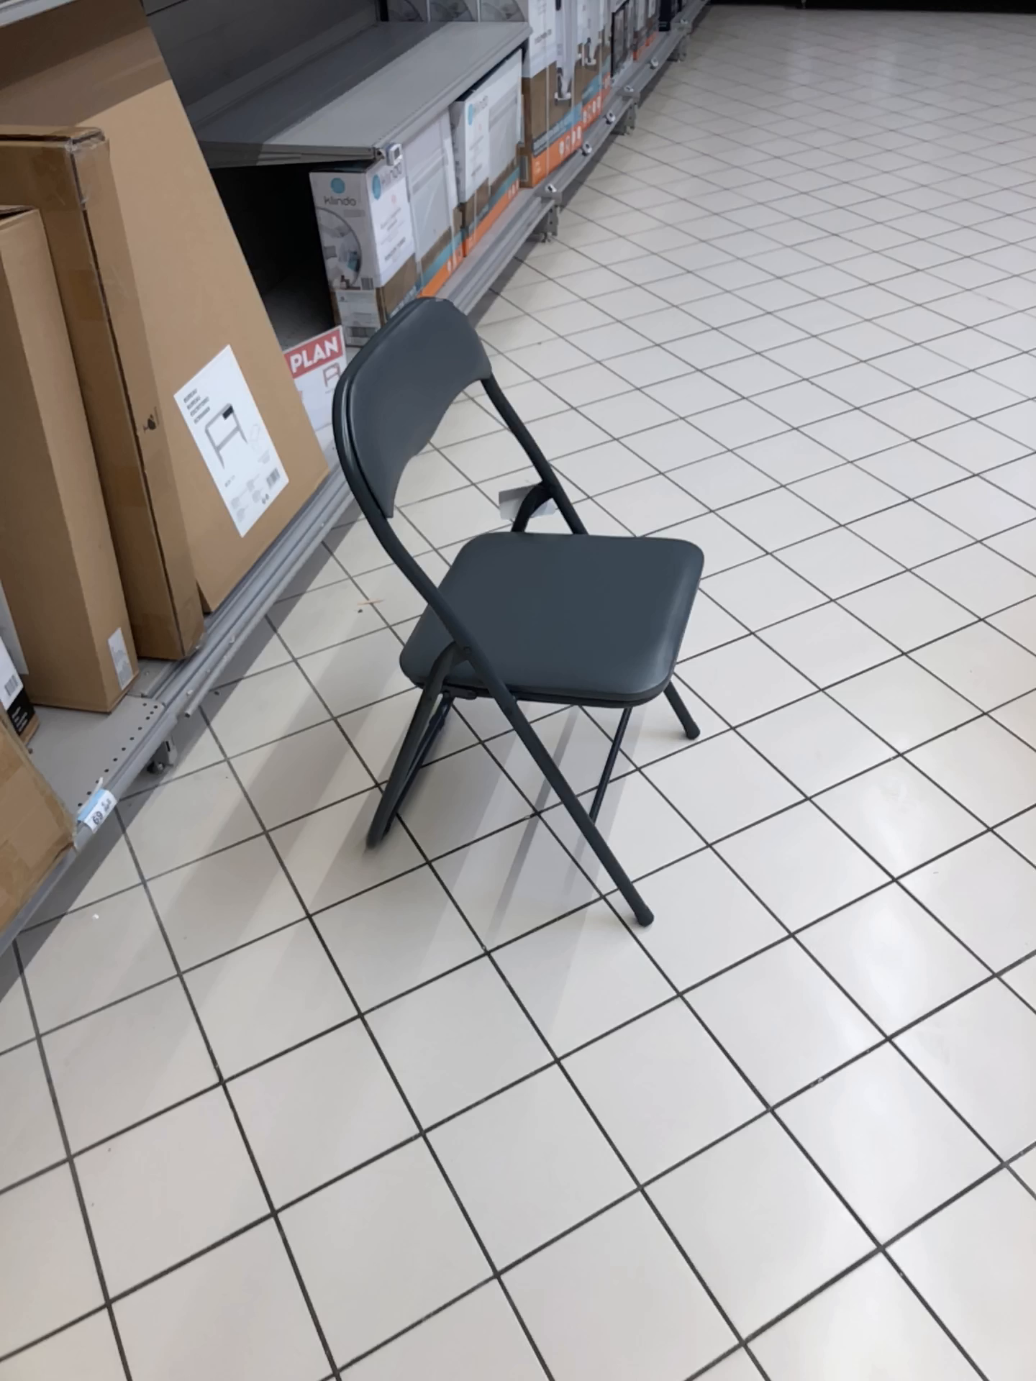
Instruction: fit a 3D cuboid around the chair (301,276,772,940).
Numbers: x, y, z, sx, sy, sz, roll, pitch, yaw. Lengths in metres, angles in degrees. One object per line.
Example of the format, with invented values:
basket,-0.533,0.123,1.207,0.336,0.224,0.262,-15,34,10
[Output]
chair,0.067,-0.127,1.685,0.500,0.756,0.554,7,40,10
